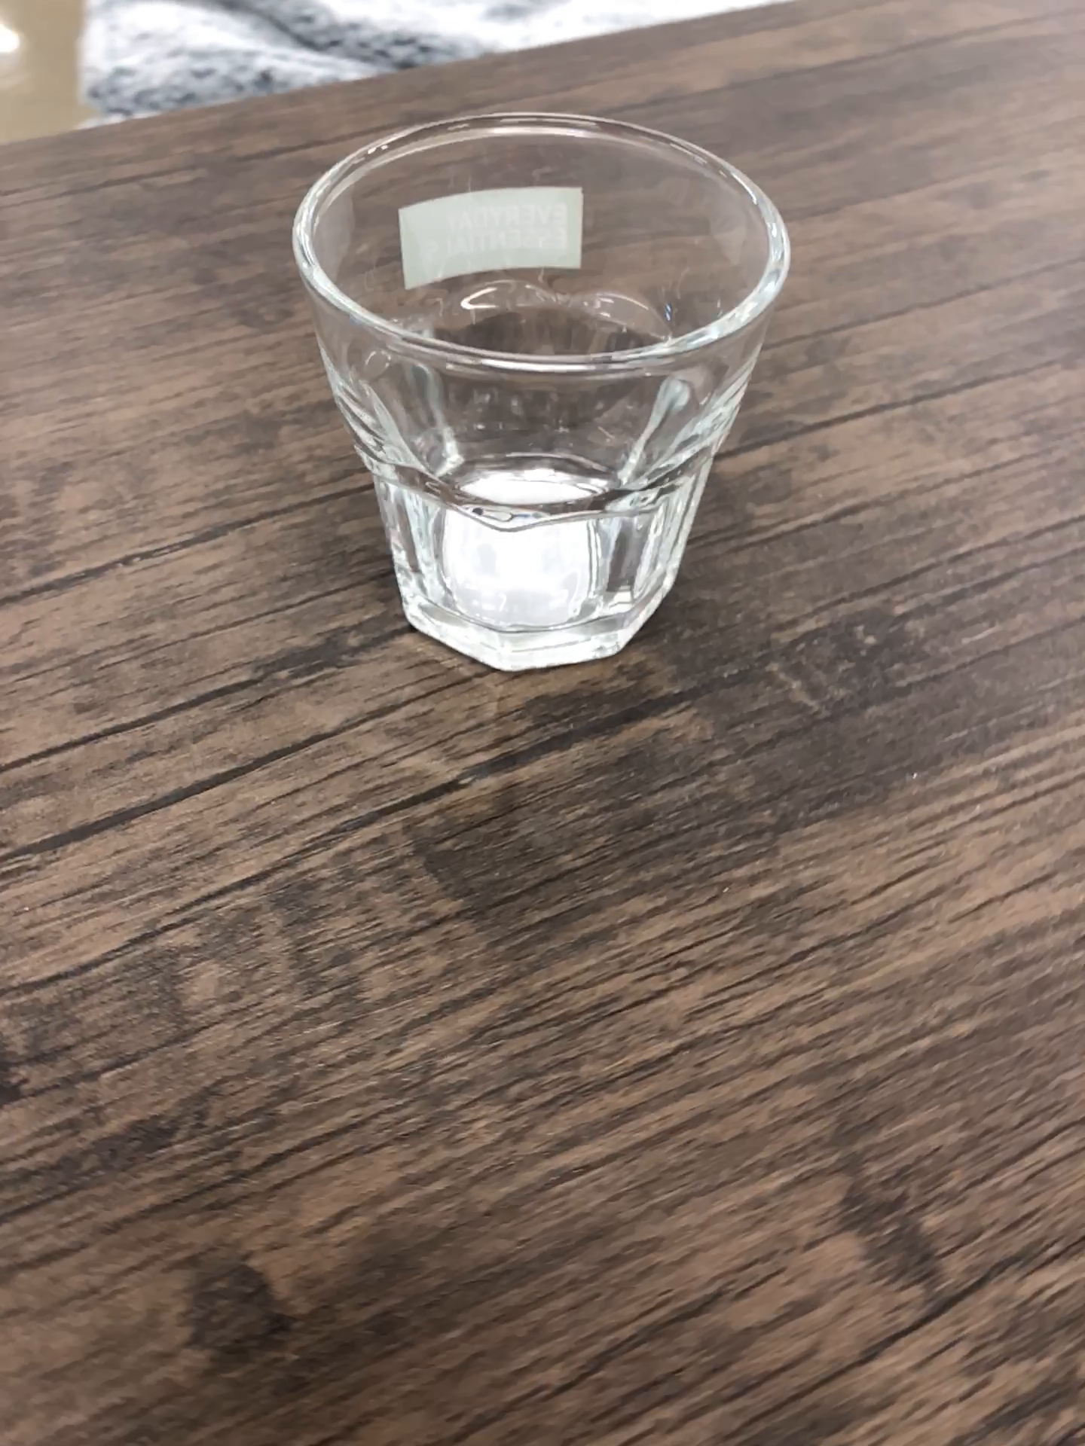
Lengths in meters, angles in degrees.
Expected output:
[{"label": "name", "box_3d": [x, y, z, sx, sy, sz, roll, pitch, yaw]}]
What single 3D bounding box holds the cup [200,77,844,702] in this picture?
[{"label": "cup", "box_3d": [-0.002, -0.062, 0.226, 0.090, 0.070, 0.090, 1, 51, -1]}]
